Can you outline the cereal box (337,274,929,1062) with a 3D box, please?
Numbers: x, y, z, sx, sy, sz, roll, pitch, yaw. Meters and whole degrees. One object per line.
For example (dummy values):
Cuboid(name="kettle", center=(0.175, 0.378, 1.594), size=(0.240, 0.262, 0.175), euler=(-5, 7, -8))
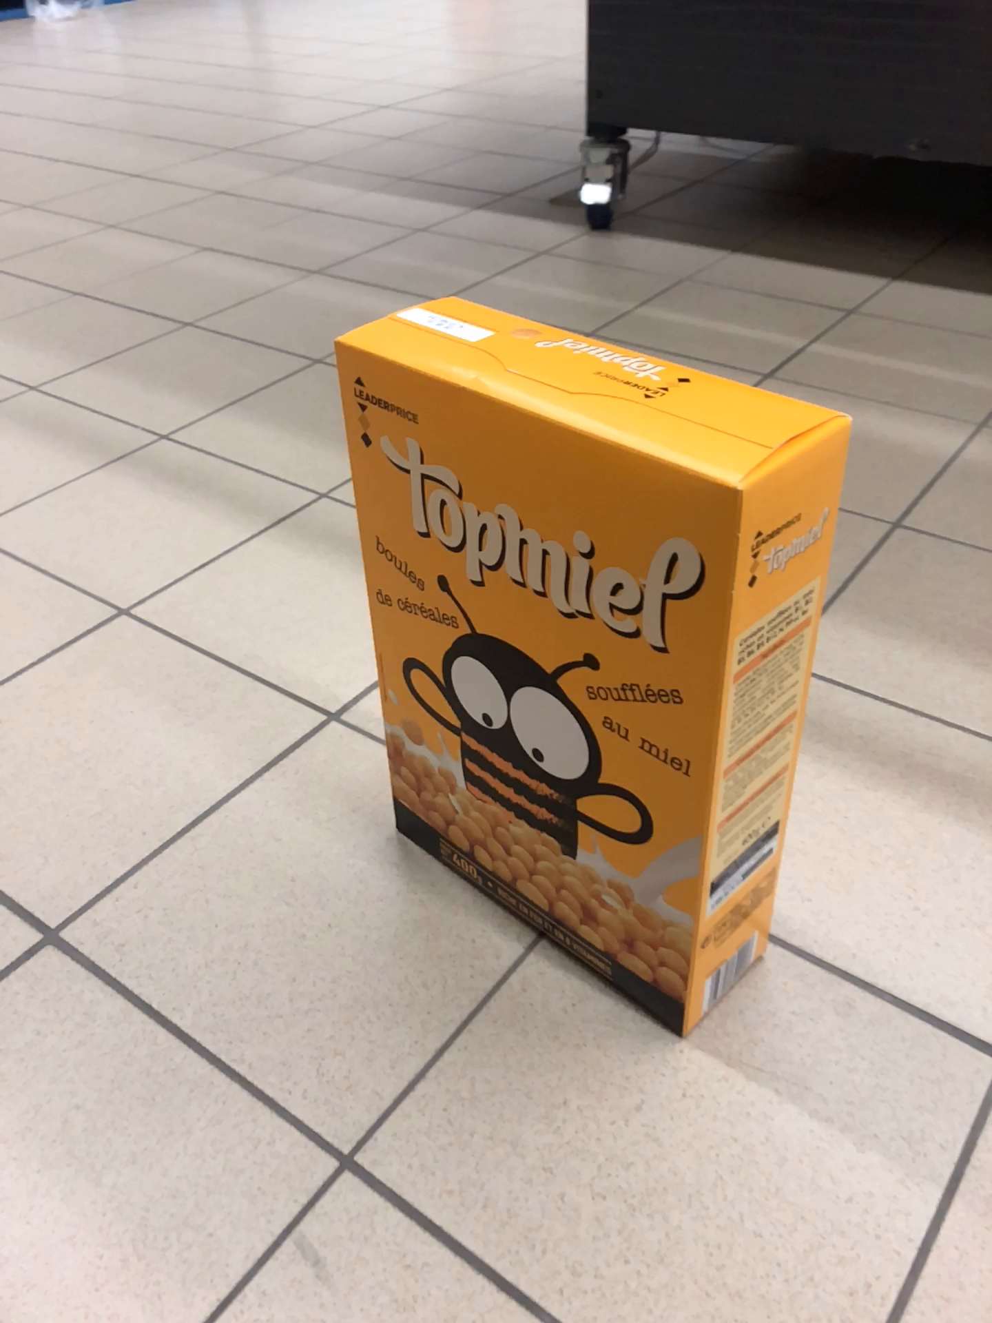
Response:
Cuboid(name="cereal box", center=(0.039, 0.003, 0.451), size=(0.210, 0.268, 0.060), euler=(29, 46, 35))
